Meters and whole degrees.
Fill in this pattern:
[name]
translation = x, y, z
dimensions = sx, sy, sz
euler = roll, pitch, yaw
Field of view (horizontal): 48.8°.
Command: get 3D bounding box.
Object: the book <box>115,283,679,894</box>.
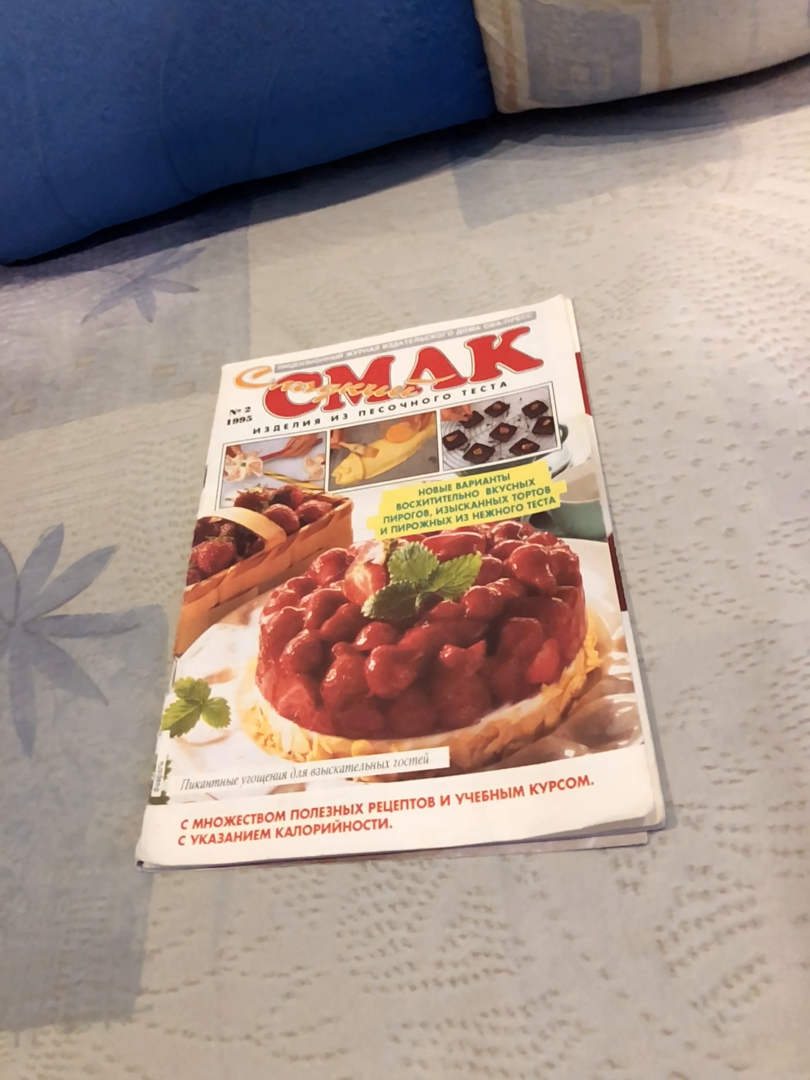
[book]
translation = -0.007, 0.004, 0.350
dimensions = 0.177, 0.020, 0.241
euler = -9, 53, 12
